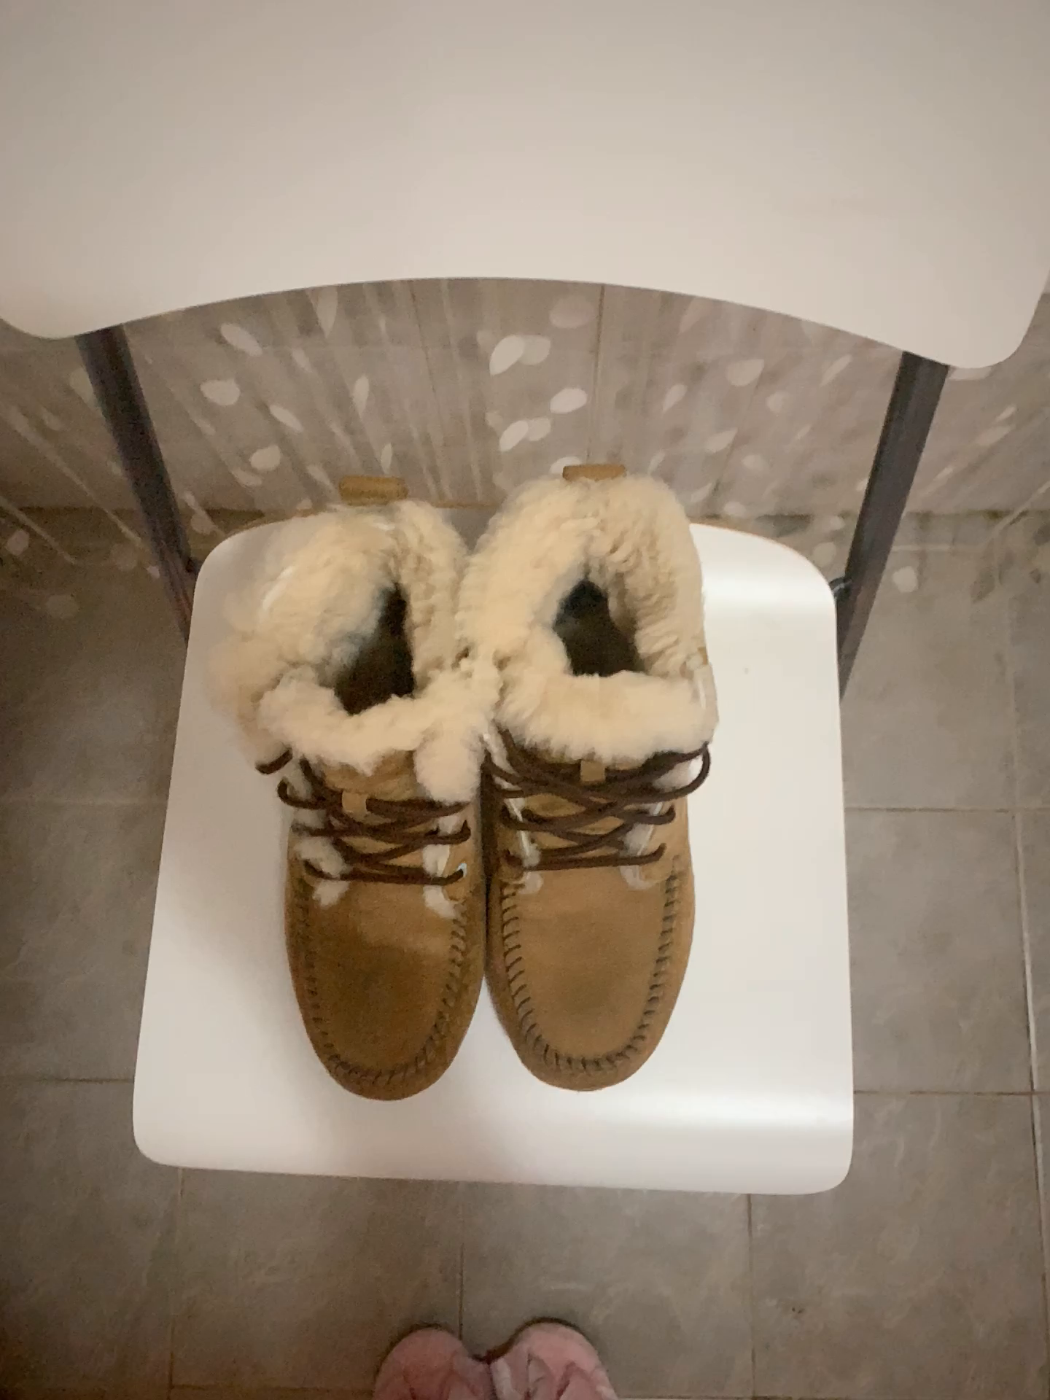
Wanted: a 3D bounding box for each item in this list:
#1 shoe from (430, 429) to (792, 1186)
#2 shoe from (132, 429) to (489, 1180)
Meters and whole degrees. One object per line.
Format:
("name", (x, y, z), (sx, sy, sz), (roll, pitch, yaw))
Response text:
("shoe", (0.027, 0.042, 0.438), (0.113, 0.157, 0.251), (-1, 80, 1))
("shoe", (-0.073, 0.041, 0.439), (0.106, 0.156, 0.251), (-1, 80, 1))
